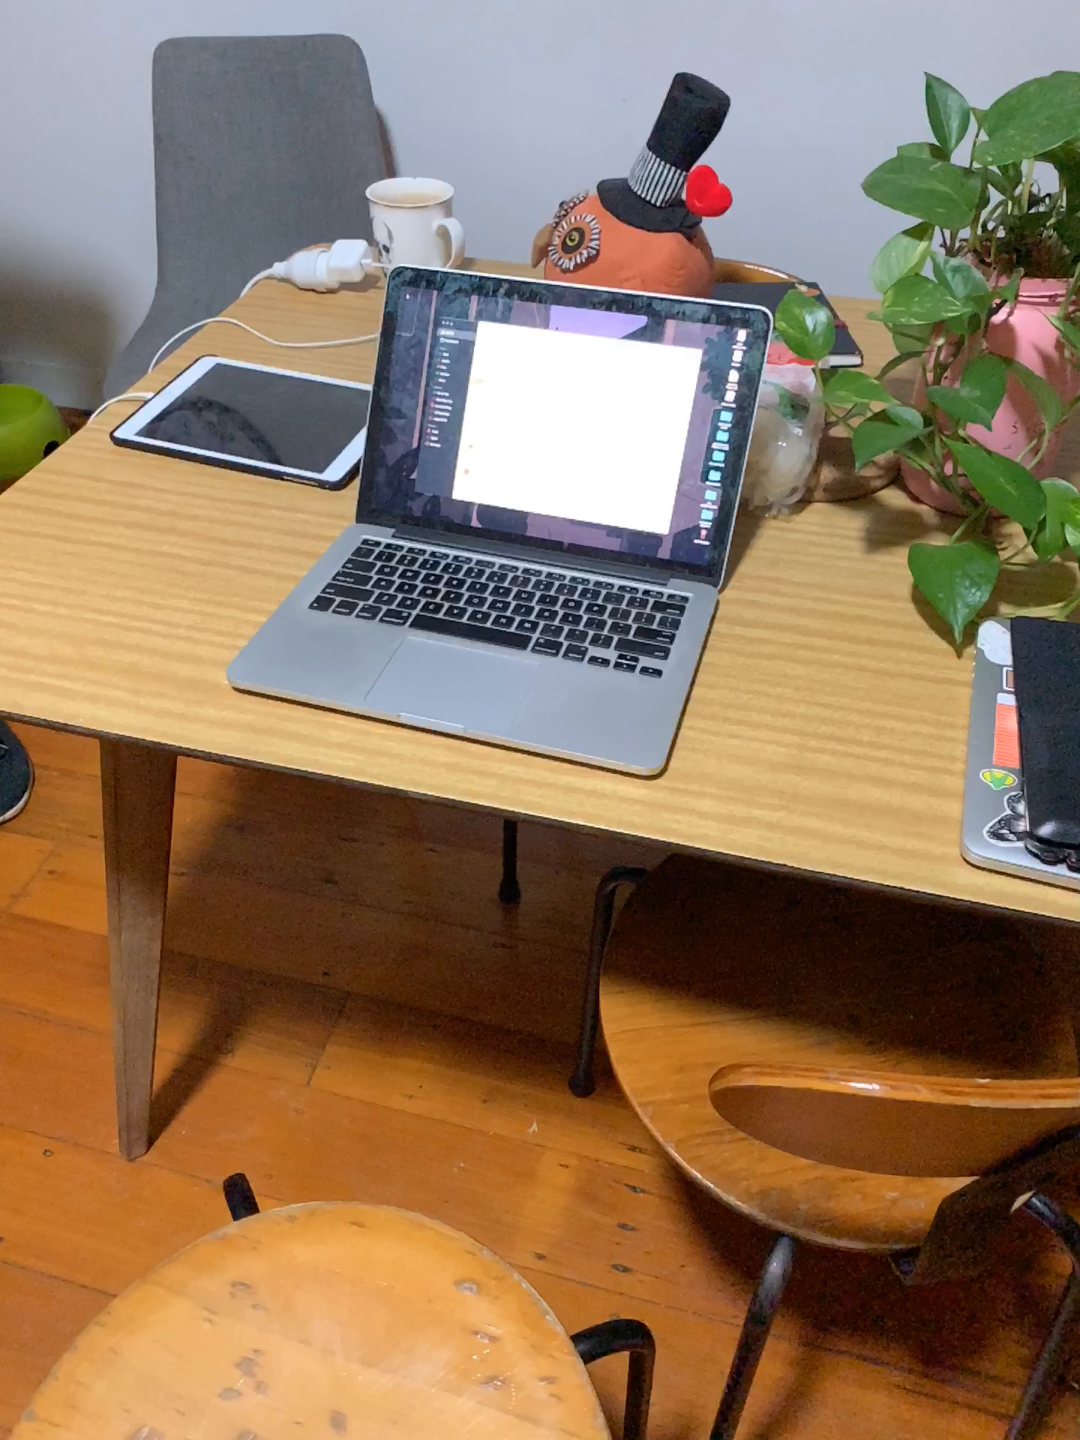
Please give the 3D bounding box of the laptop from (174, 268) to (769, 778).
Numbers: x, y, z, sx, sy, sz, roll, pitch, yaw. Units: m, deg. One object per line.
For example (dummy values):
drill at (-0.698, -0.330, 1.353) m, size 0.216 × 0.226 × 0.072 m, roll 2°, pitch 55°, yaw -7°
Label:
laptop at (-0.019, -0.142, 0.675) m, size 0.263 × 0.144 × 0.288 m, roll 12°, pitch 42°, yaw 14°
